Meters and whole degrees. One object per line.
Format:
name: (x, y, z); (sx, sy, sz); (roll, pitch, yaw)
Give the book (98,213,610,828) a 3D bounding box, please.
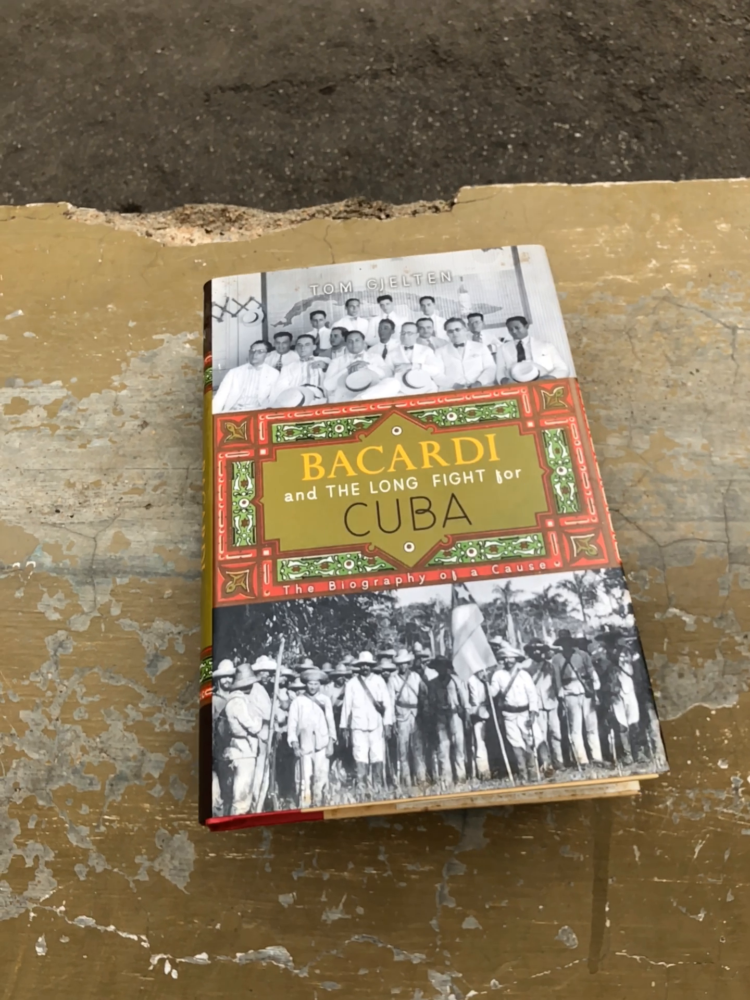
book: (-0.015, -0.003, 0.356); (0.170, 0.050, 0.250); (-5, 63, 1)
